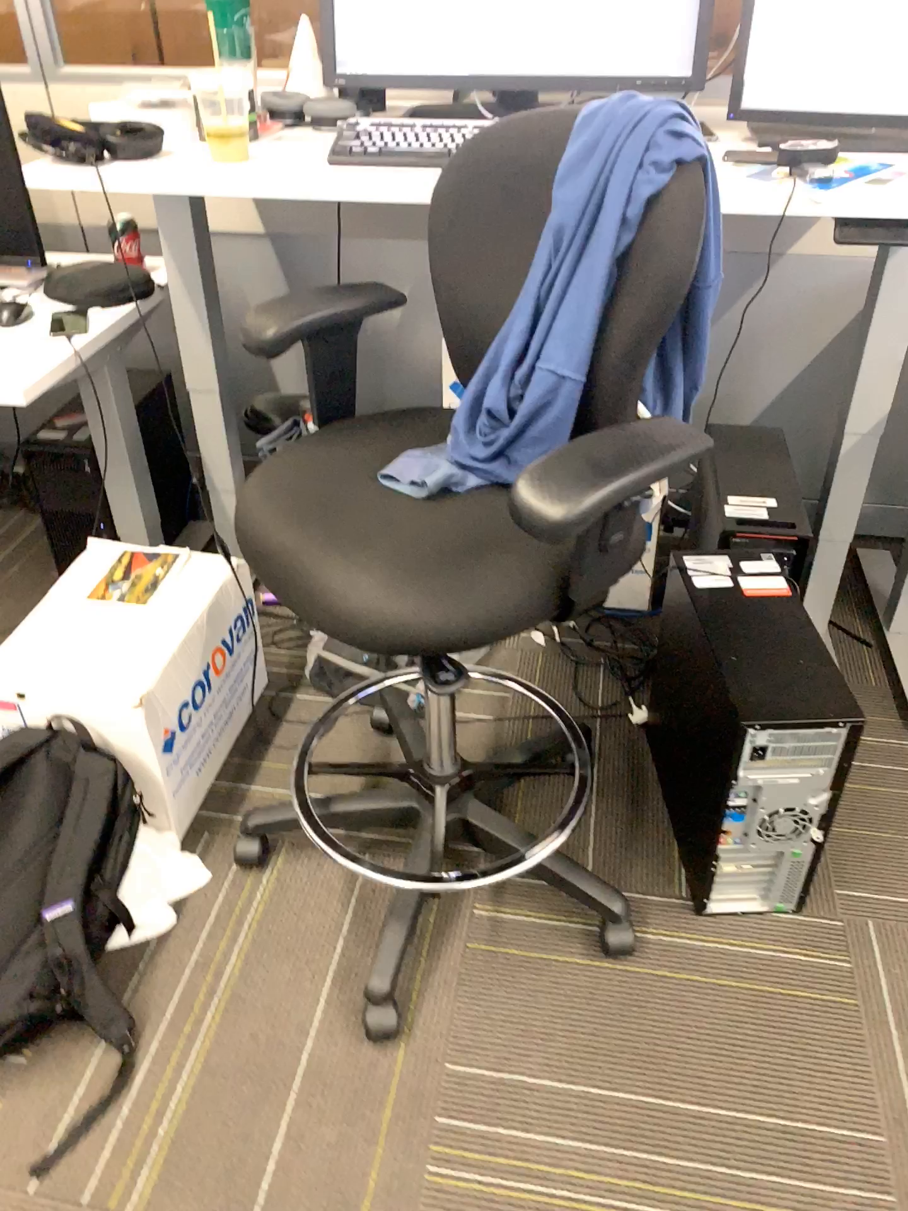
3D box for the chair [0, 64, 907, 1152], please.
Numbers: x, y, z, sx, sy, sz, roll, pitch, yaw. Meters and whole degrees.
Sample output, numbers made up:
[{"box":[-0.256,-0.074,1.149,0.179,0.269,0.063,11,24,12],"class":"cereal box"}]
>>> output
[{"box":[-0.018,-0.053,1.295,0.753,1.103,0.742,29,46,34],"class":"chair"}]
